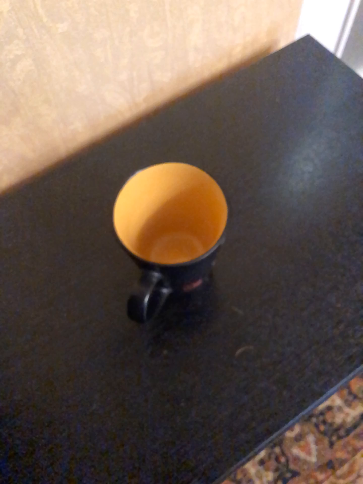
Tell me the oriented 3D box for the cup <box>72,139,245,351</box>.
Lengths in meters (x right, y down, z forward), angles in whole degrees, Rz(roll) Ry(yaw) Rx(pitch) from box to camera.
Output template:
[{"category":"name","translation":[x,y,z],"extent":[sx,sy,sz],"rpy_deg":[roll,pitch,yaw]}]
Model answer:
[{"category":"cup","translation":[-0.010,0.005,0.345],"extent":[0.090,0.100,0.130],"rpy_deg":[15,67,9]}]
